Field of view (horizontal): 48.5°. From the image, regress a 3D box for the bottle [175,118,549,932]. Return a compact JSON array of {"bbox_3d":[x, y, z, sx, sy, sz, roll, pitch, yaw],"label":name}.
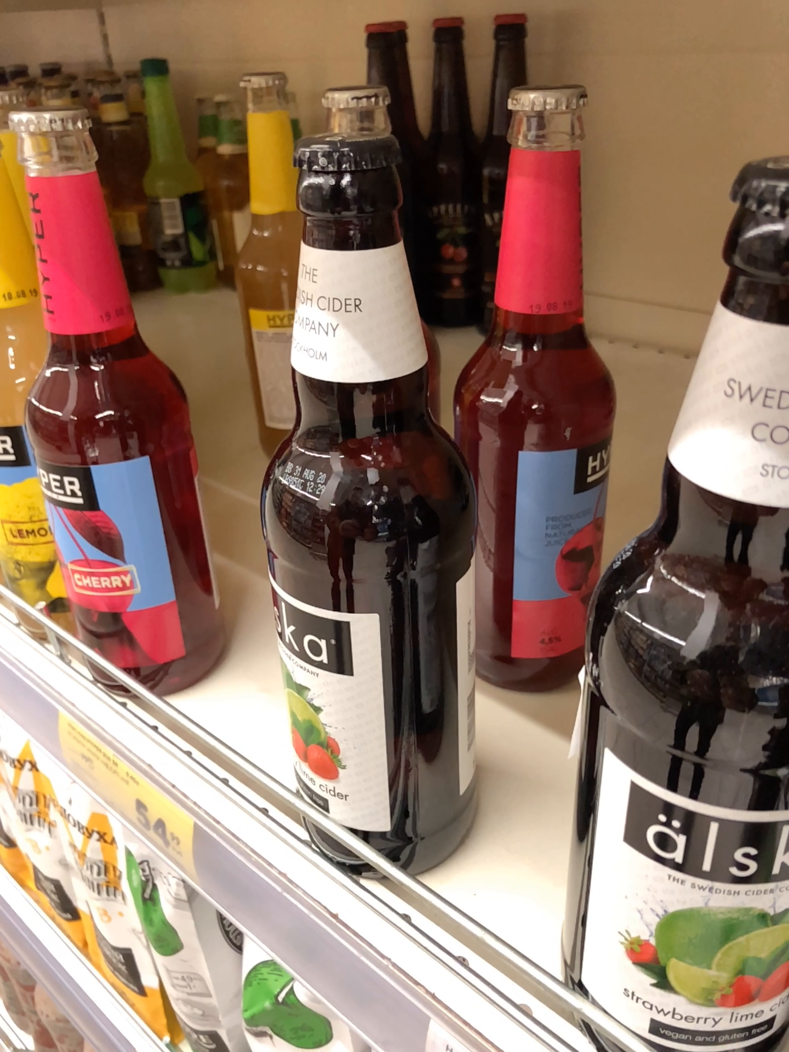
[{"bbox_3d":[-0.005,0.007,0.276,0.070,0.239,0.070,-2,29,1],"label":"bottle"}]
